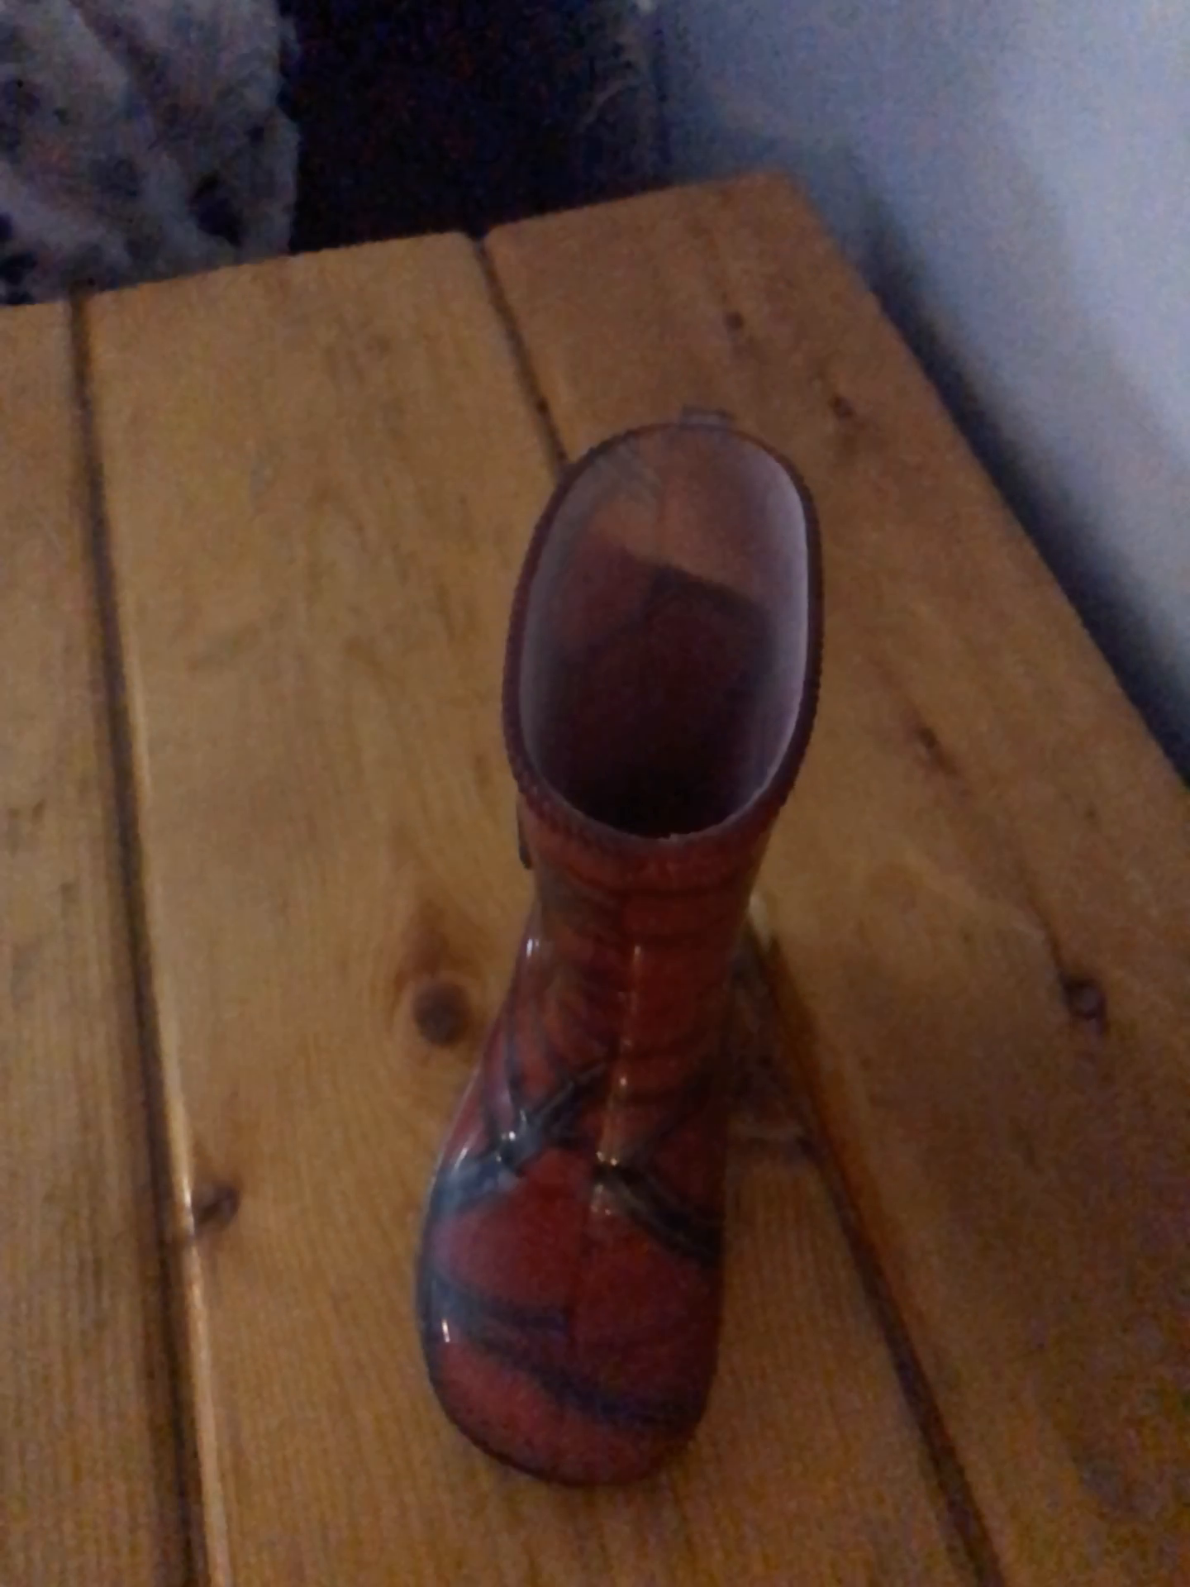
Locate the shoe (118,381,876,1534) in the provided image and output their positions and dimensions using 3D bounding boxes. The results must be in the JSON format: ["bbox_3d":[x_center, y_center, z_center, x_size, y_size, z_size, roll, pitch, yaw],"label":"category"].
[{"bbox_3d":[-0.001,0.042,0.268,0.080,0.170,0.160,8,56,7],"label":"shoe"}]
